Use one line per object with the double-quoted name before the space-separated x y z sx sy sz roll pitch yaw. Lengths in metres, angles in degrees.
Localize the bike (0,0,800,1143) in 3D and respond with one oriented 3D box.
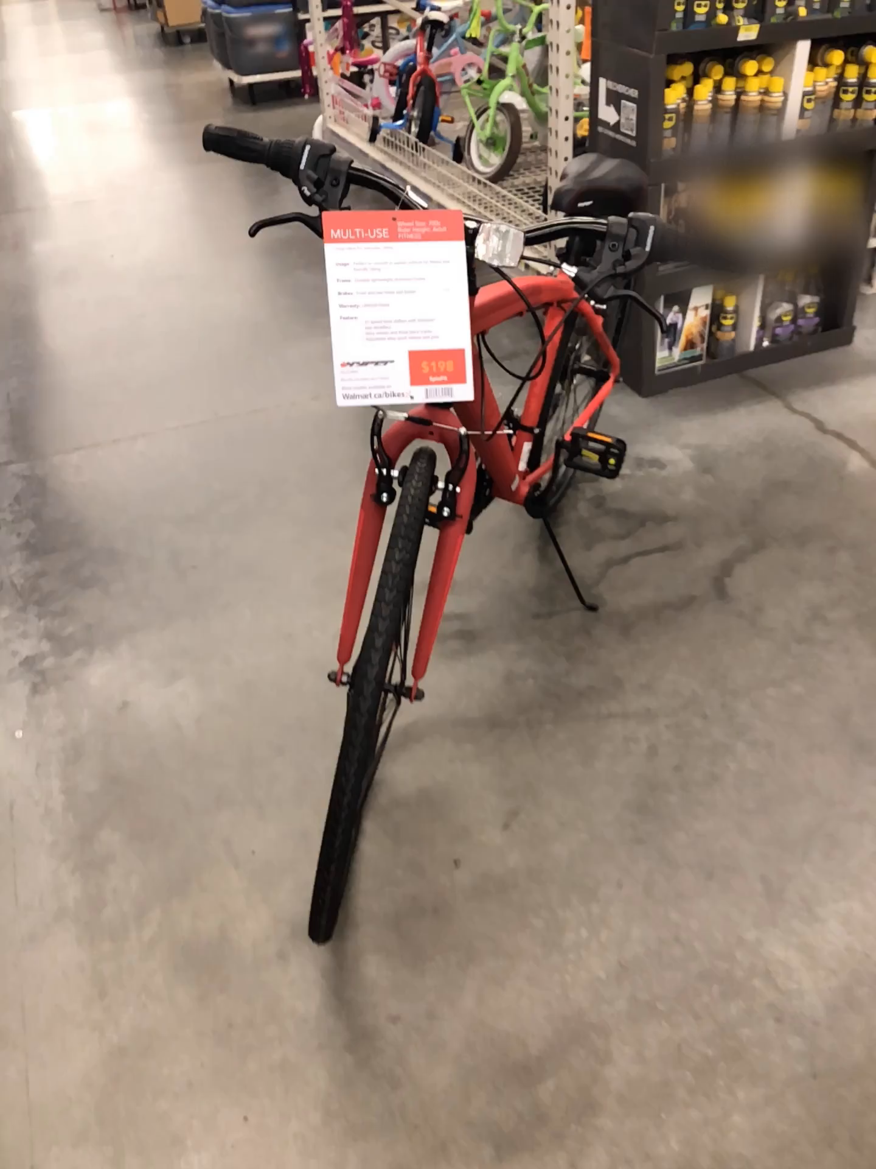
"bike" 0.143 -0.266 1.598 0.613 1.000 1.696 10 41 17
